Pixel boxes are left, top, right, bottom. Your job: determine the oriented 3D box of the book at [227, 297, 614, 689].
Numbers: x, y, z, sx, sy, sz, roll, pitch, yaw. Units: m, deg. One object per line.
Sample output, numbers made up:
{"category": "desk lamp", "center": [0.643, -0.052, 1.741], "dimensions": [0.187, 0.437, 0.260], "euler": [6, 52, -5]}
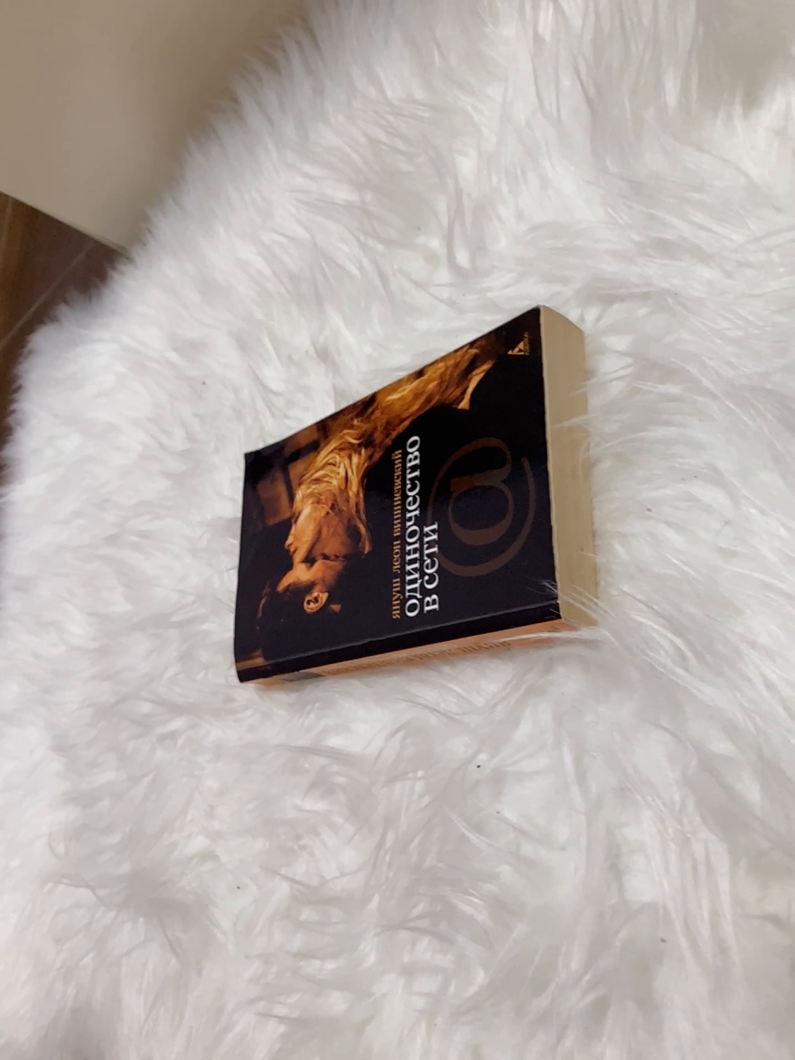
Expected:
{"category": "book", "center": [-0.003, -0.004, 0.338], "dimensions": [0.177, 0.030, 0.113], "euler": [-19, 63, 41]}
